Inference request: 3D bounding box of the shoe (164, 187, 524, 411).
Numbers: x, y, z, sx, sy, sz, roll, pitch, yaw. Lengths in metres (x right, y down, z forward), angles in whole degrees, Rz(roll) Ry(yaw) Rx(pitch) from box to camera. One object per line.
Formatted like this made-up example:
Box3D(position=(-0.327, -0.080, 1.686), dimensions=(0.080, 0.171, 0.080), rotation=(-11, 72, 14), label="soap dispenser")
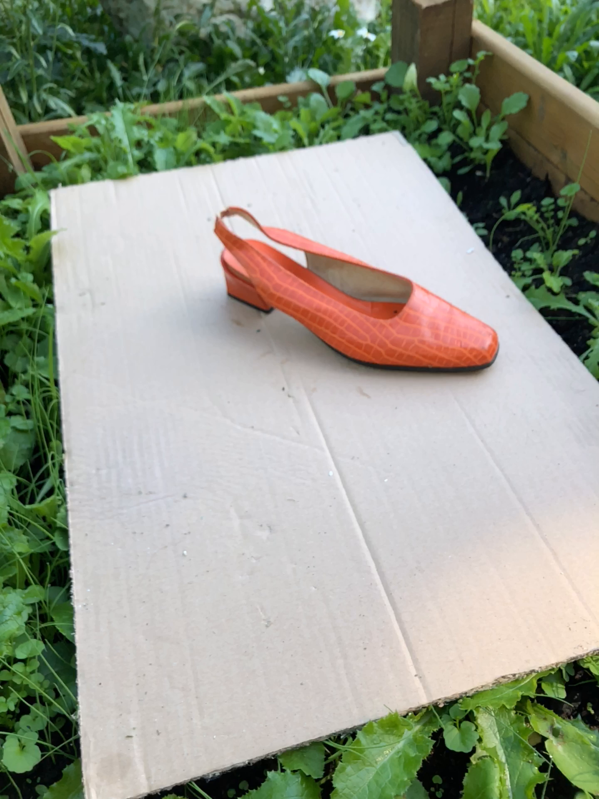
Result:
Box3D(position=(0.033, -0.088, 0.540), dimensions=(0.260, 0.089, 0.091), rotation=(16, 48, 18), label="shoe")
